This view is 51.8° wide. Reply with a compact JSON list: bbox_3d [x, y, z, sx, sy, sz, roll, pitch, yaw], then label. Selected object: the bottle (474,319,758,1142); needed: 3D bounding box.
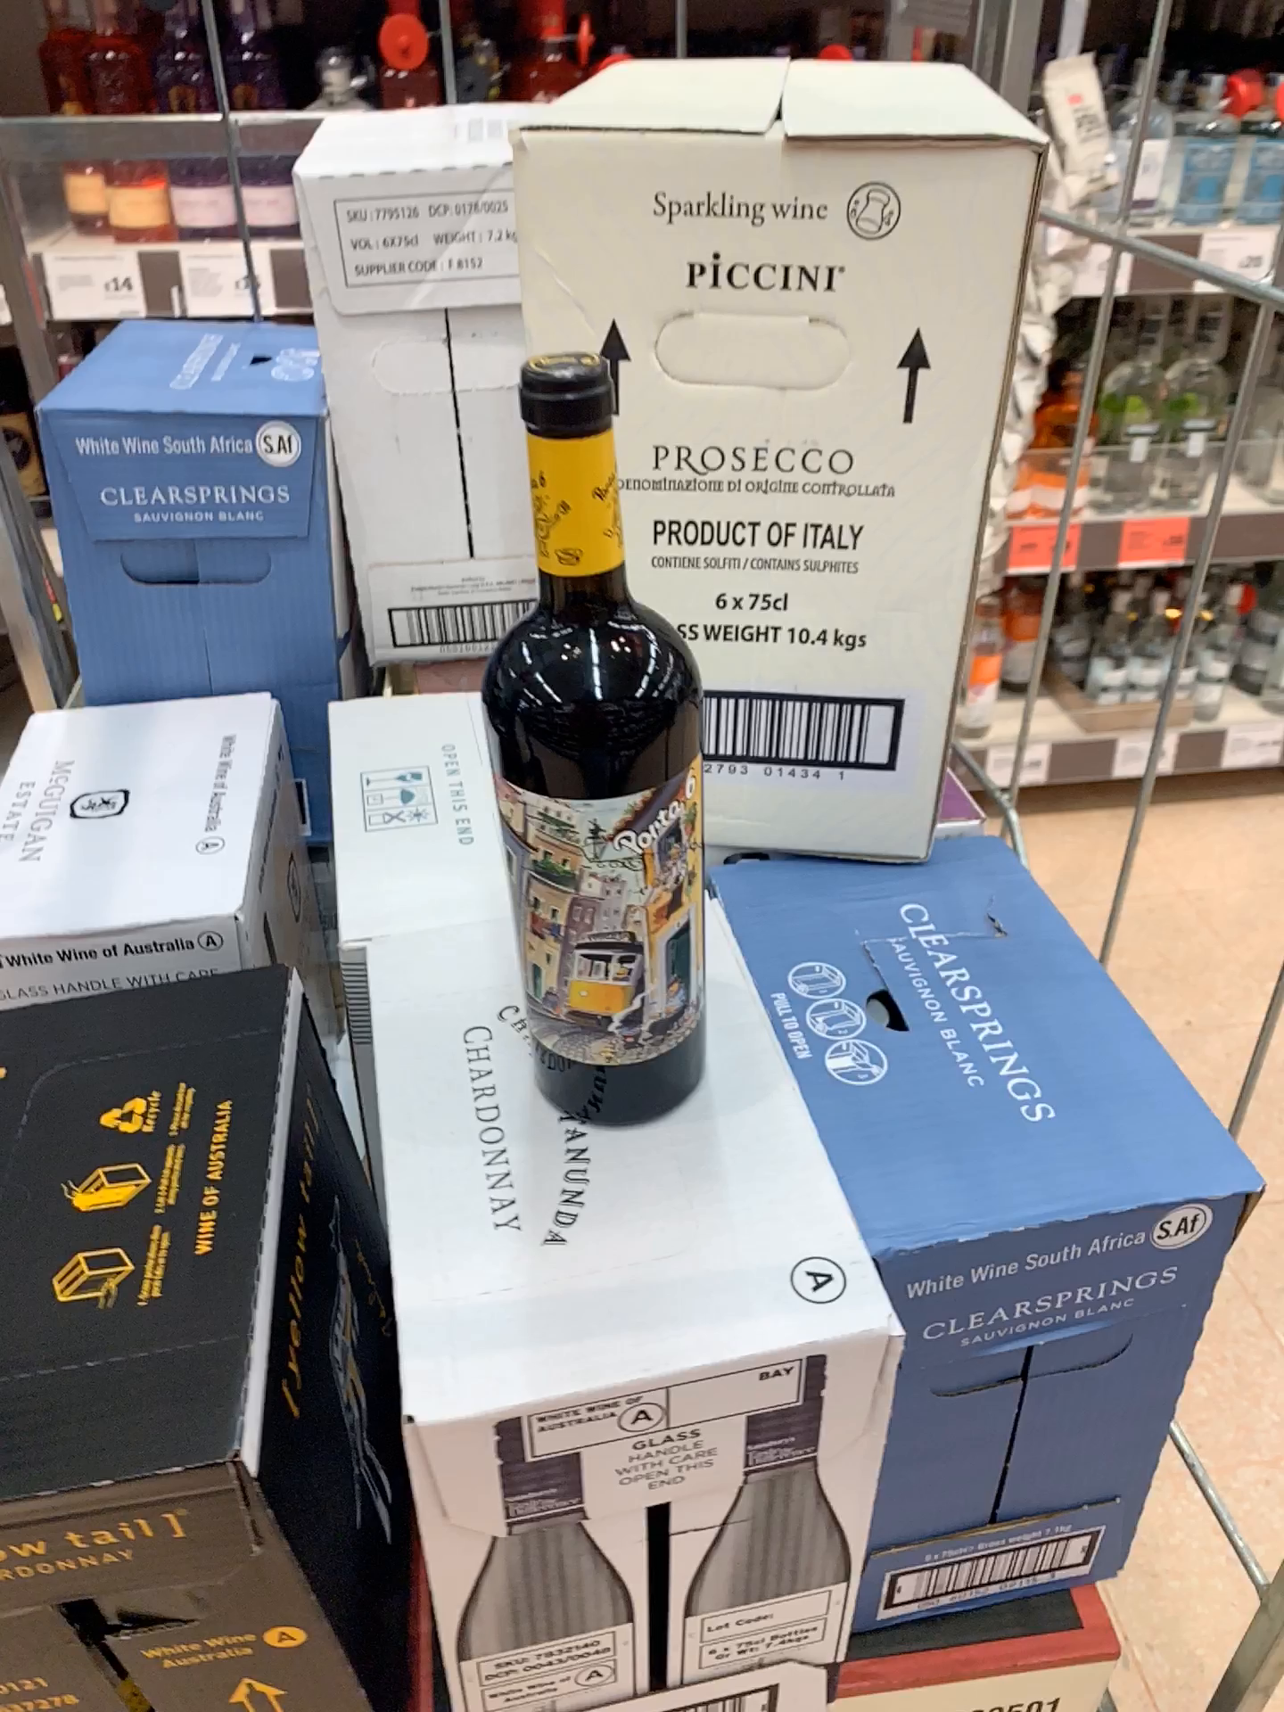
[{"bbox_3d":[-0.011,-0.032,0.488,0.078,0.295,0.077,0,34,0],"label":"bottle"}]
